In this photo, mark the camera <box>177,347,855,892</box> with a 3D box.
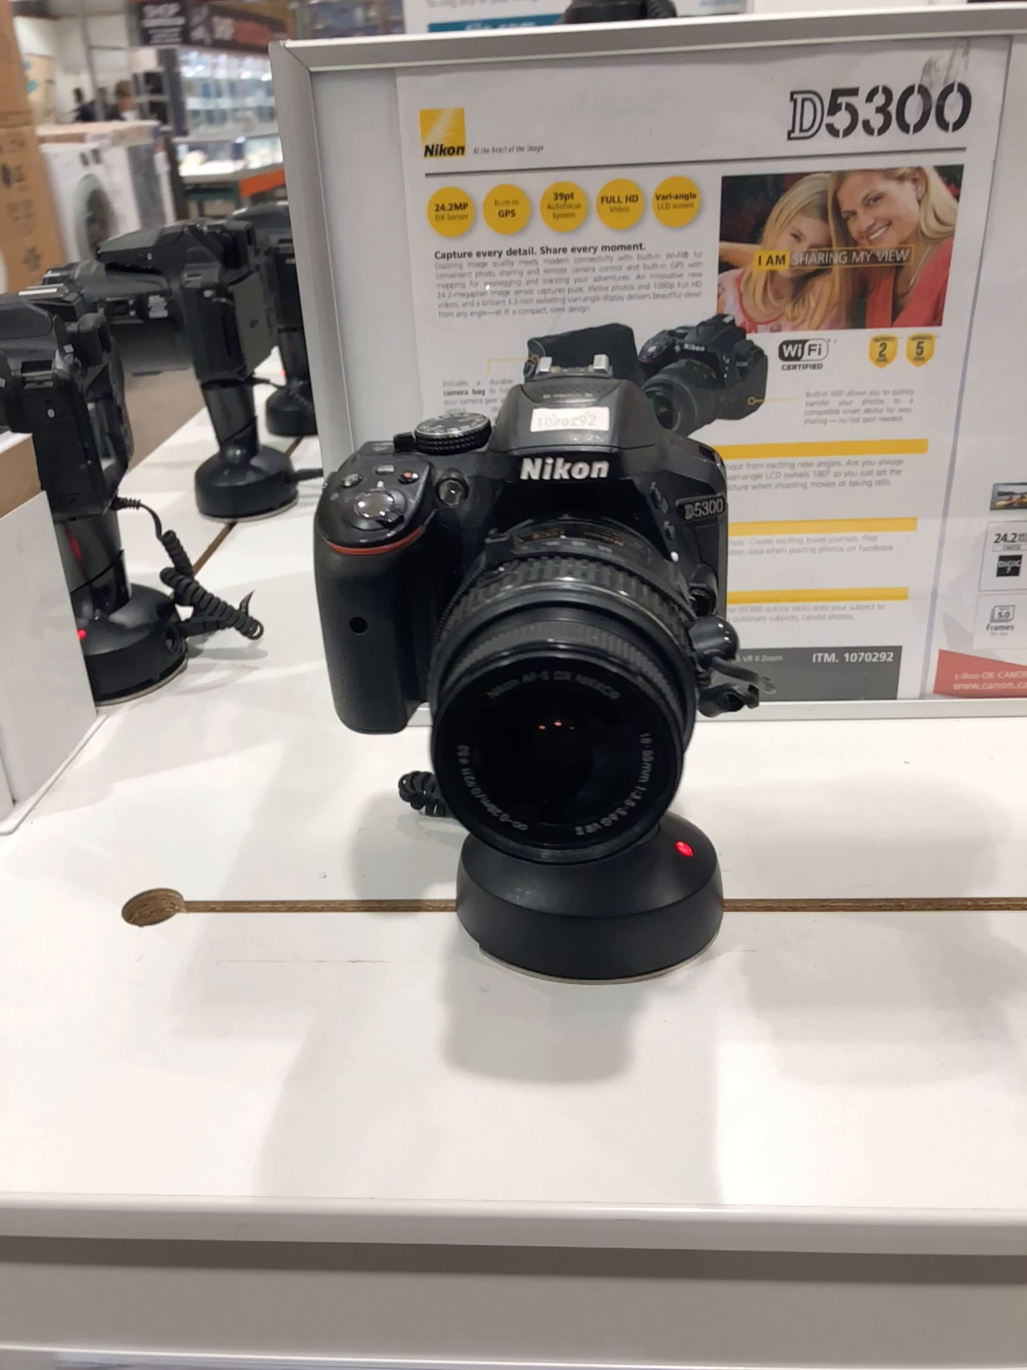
[{"bbox_3d":[0.003,-0.027,0.301,0.130,0.090,0.141,-2,27,3],"label":"camera"}]
